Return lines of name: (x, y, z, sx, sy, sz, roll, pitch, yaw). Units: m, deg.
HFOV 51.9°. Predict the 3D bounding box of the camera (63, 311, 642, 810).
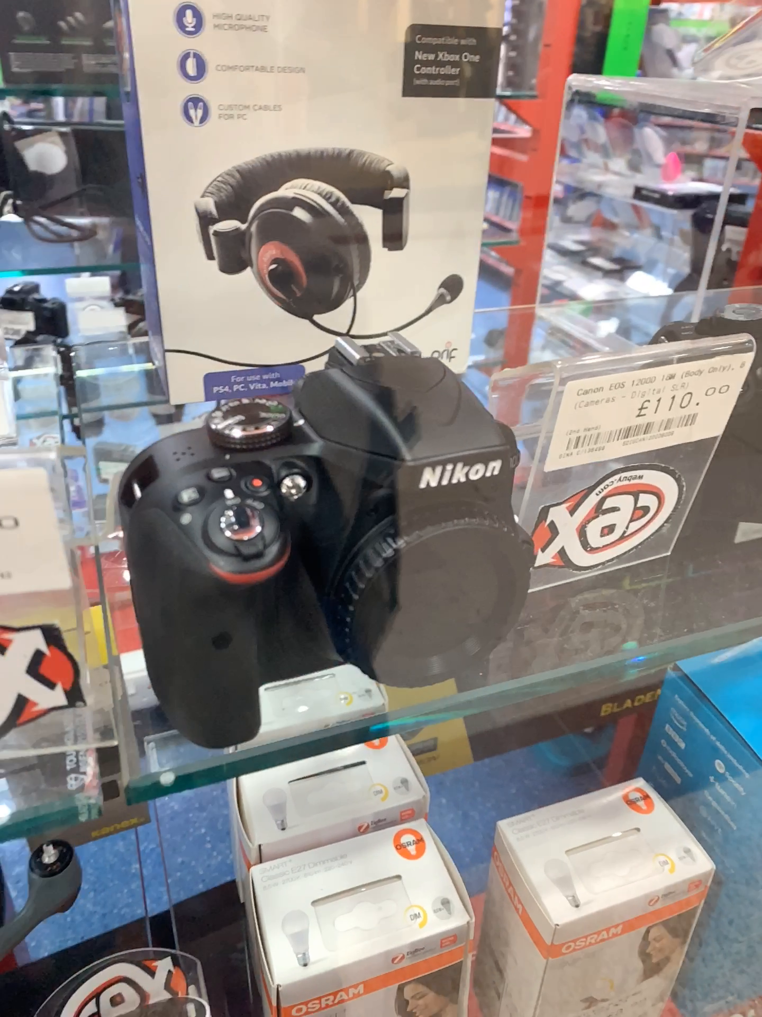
camera: (-0.016, 0.001, 0.243, 0.130, 0.079, 0.111, -13, 34, -24)
